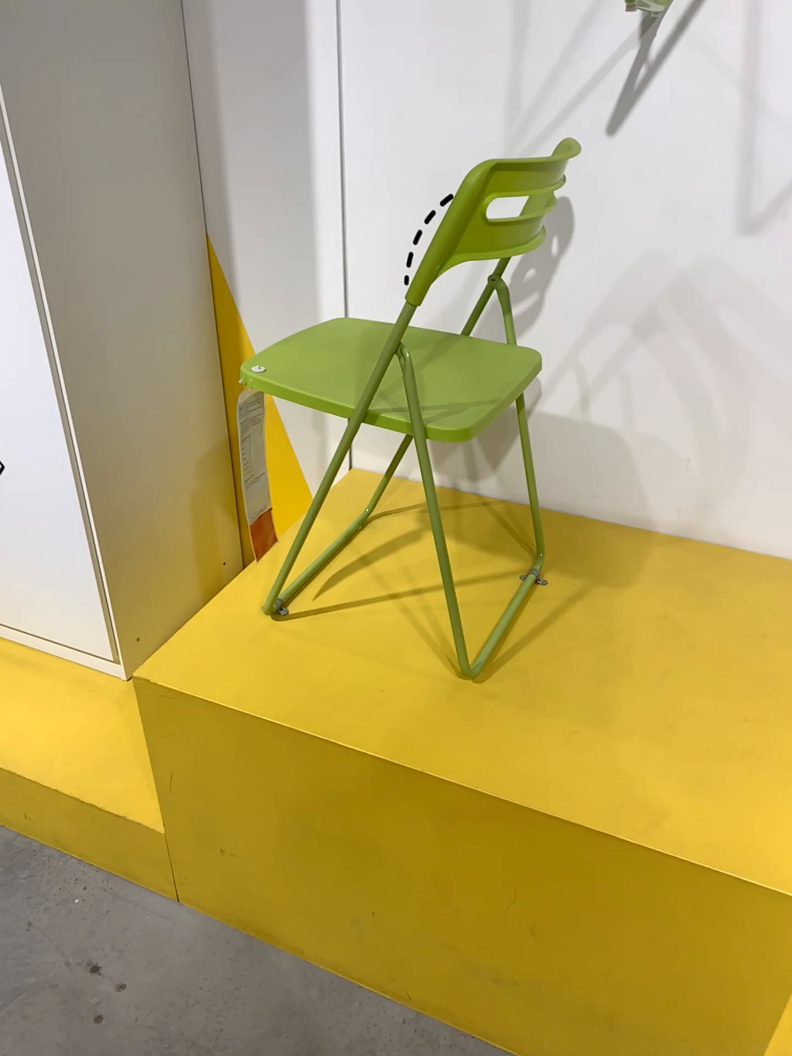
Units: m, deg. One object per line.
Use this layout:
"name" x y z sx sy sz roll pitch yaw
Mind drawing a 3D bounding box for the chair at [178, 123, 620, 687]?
"chair" 0.026 -0.225 1.288 0.461 0.717 0.451 14 33 21
